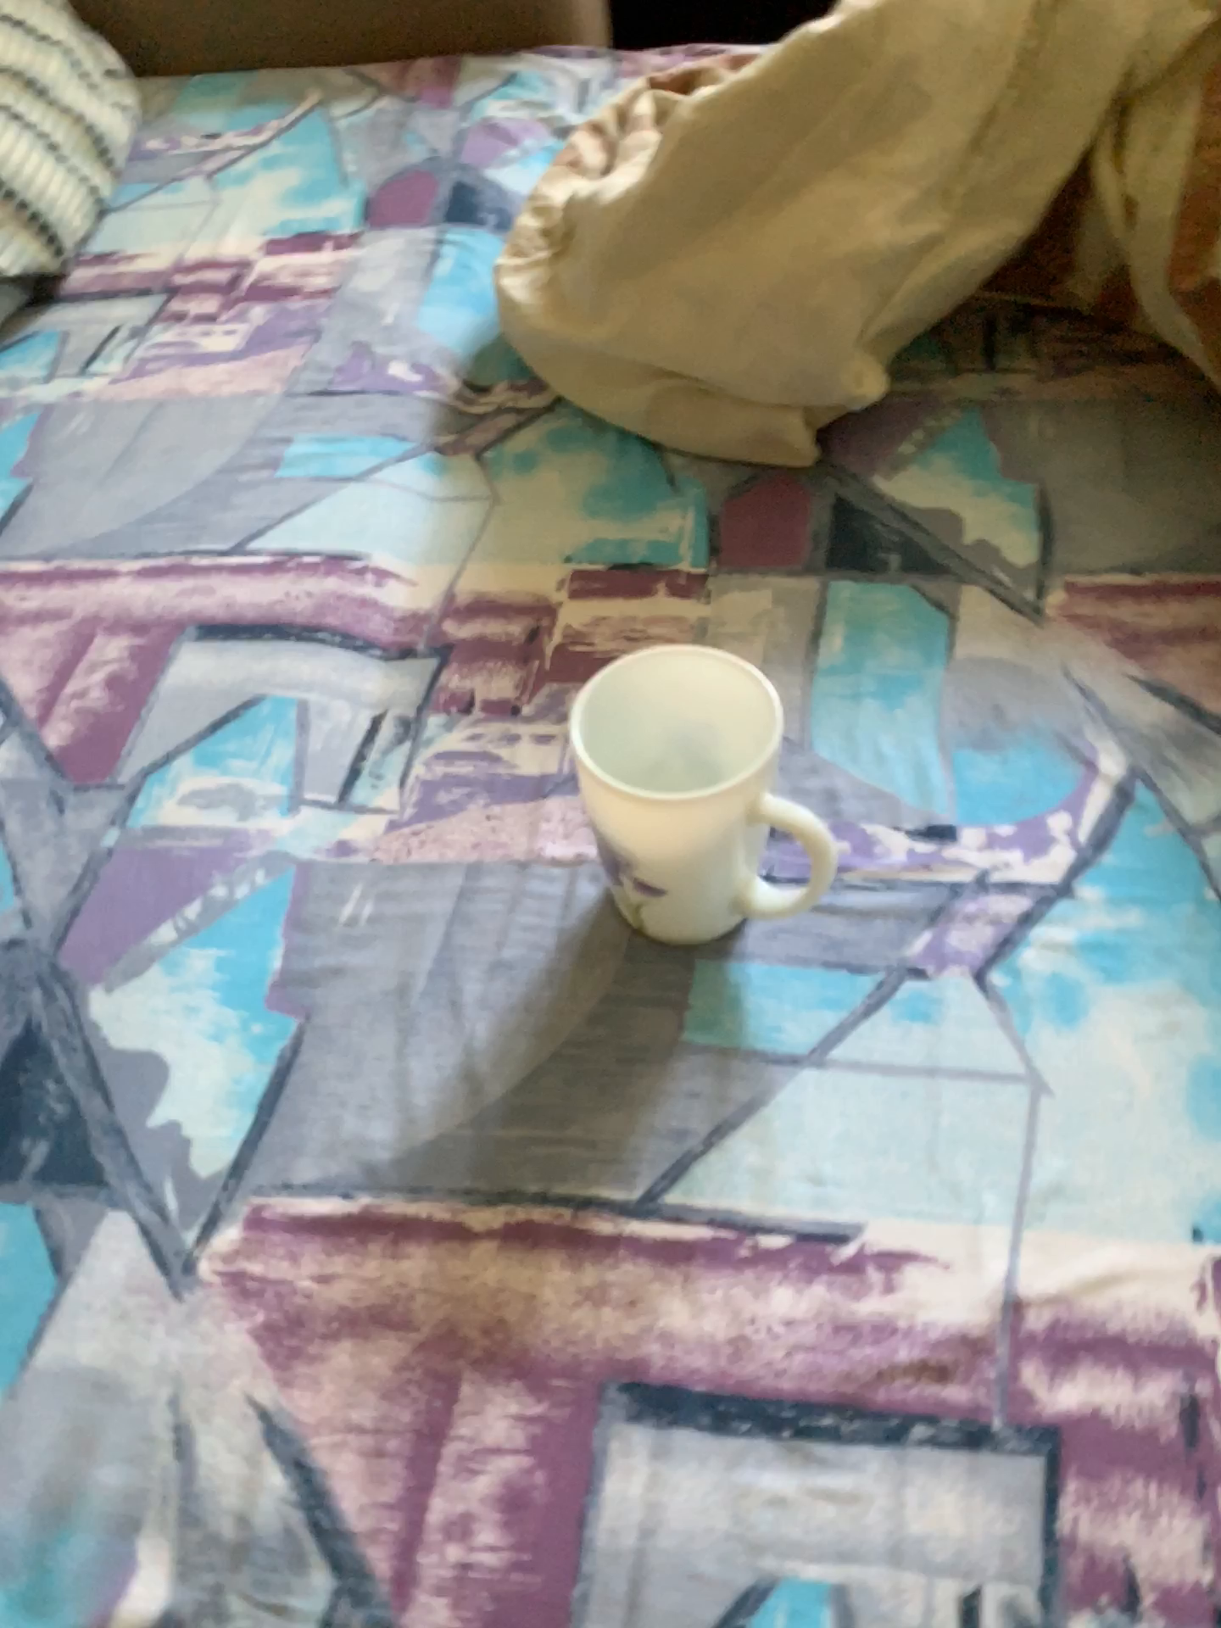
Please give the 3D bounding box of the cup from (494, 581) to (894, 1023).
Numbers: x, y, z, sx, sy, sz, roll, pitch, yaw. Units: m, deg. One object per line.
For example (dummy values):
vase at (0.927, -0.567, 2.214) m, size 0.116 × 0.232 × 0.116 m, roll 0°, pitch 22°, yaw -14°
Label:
cup at (0.033, -0.006, 0.475) m, size 0.080 × 0.099 × 0.121 m, roll -40°, pitch 57°, yaw -21°
